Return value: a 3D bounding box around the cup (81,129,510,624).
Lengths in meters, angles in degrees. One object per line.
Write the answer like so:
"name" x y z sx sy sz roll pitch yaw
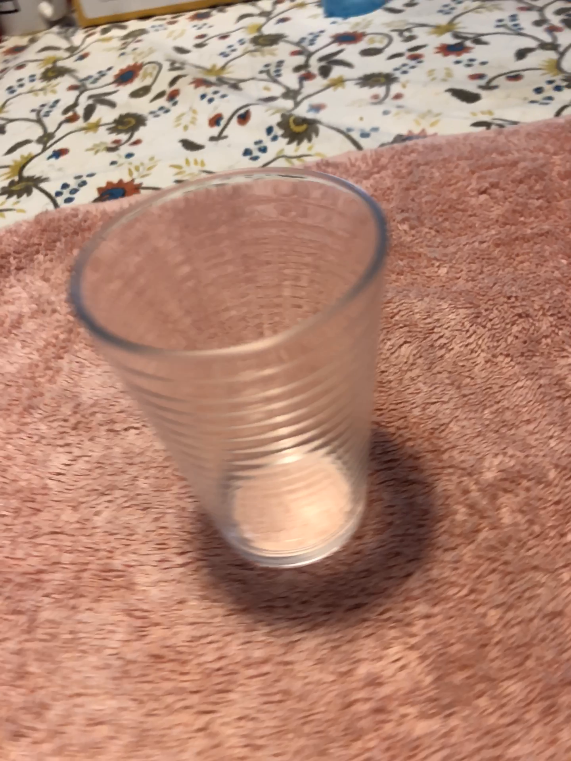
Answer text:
"cup" 0.000 0.000 0.175 0.080 0.089 0.081 -6 46 6
